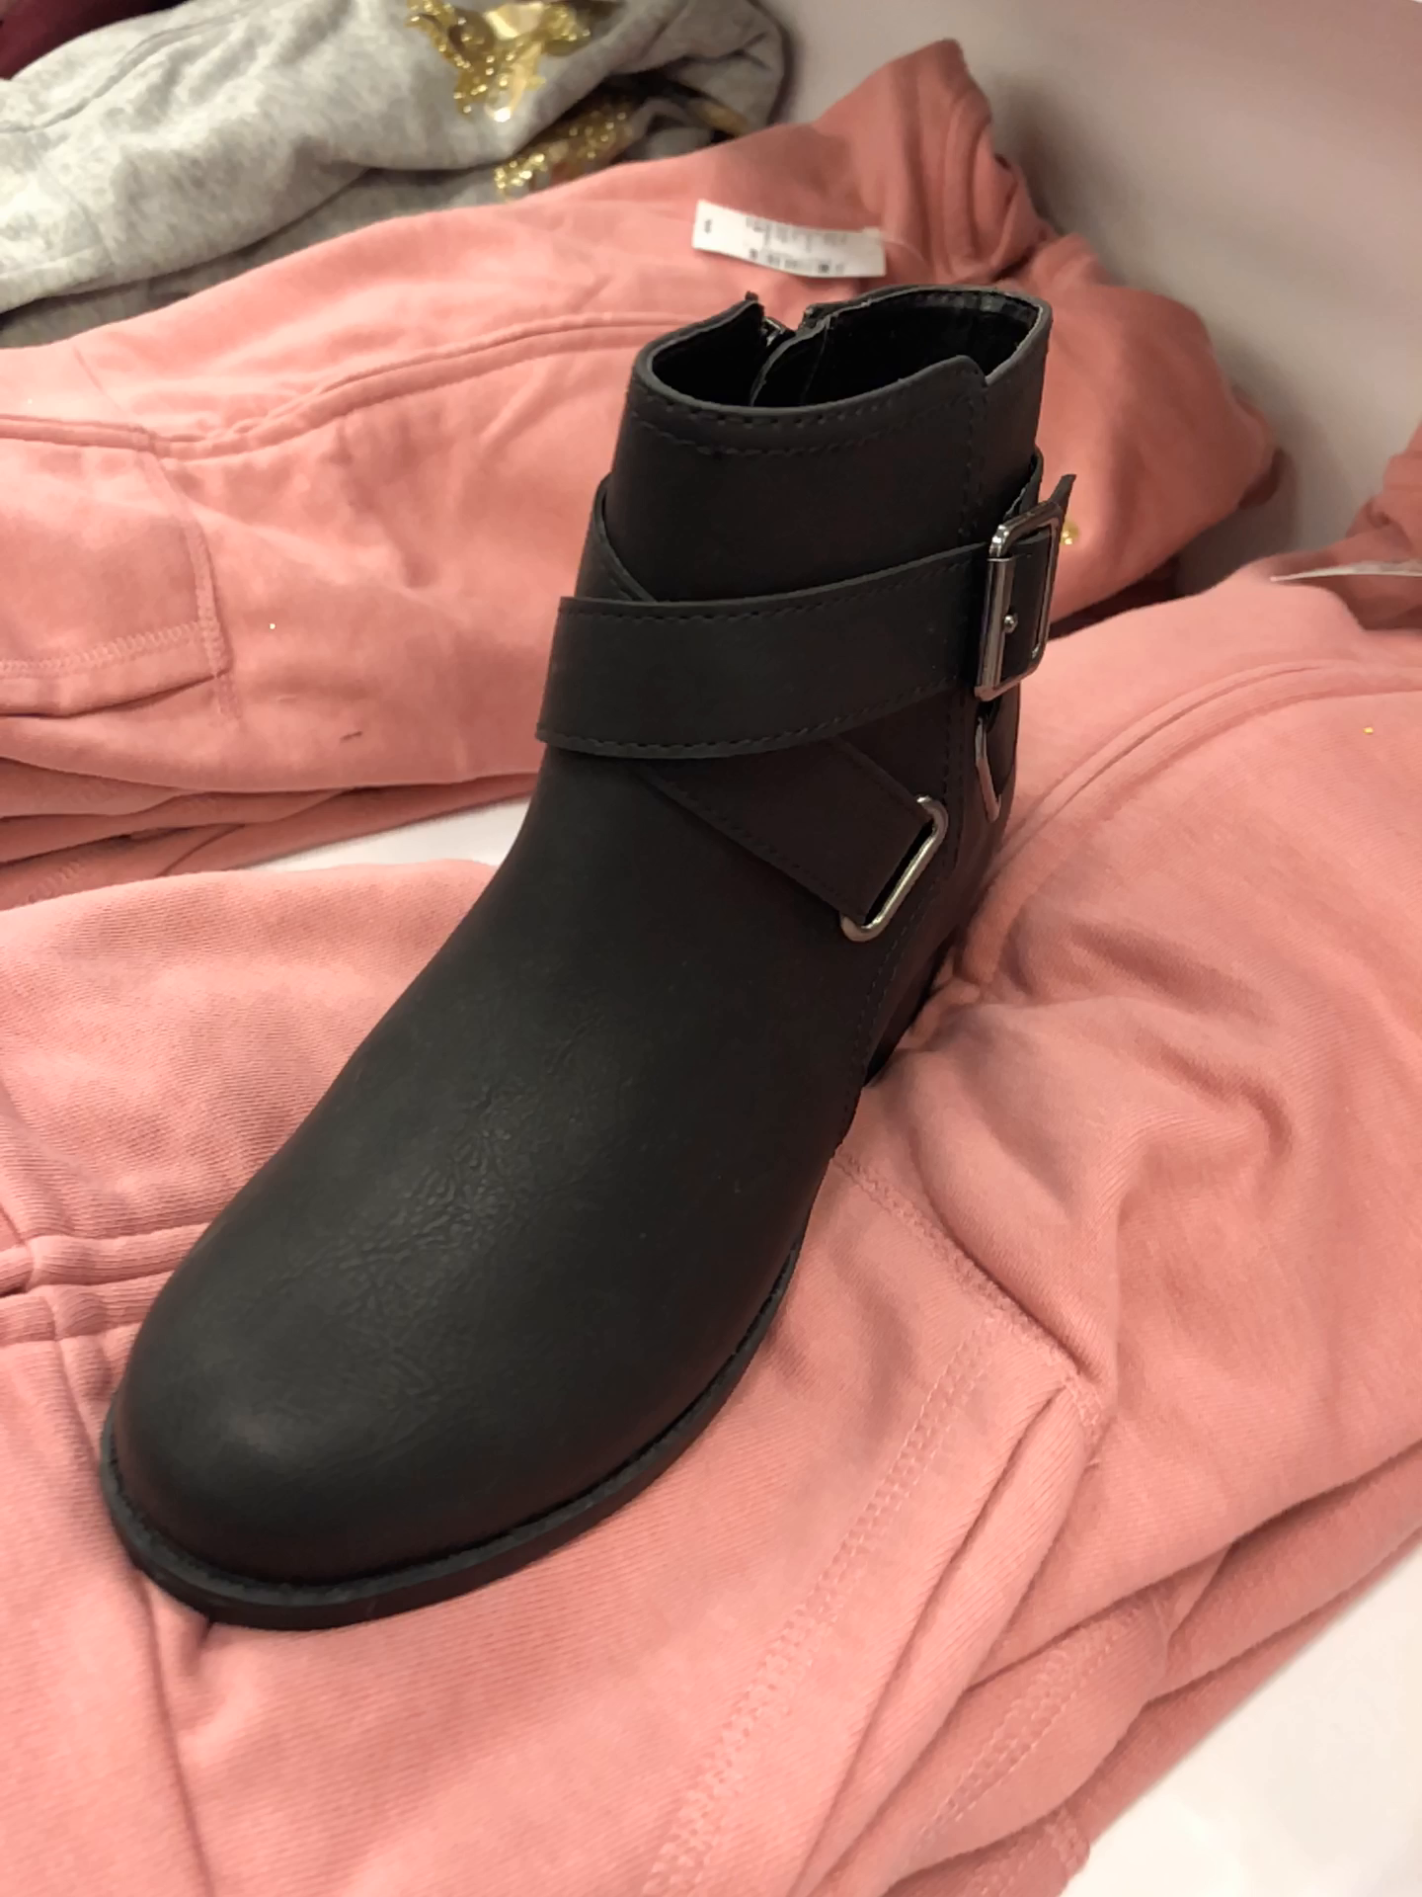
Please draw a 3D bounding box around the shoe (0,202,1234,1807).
[{"bbox_3d":[-0.012,-0.011,0.235,0.080,0.129,0.201,26,45,22],"label":"shoe"}]
